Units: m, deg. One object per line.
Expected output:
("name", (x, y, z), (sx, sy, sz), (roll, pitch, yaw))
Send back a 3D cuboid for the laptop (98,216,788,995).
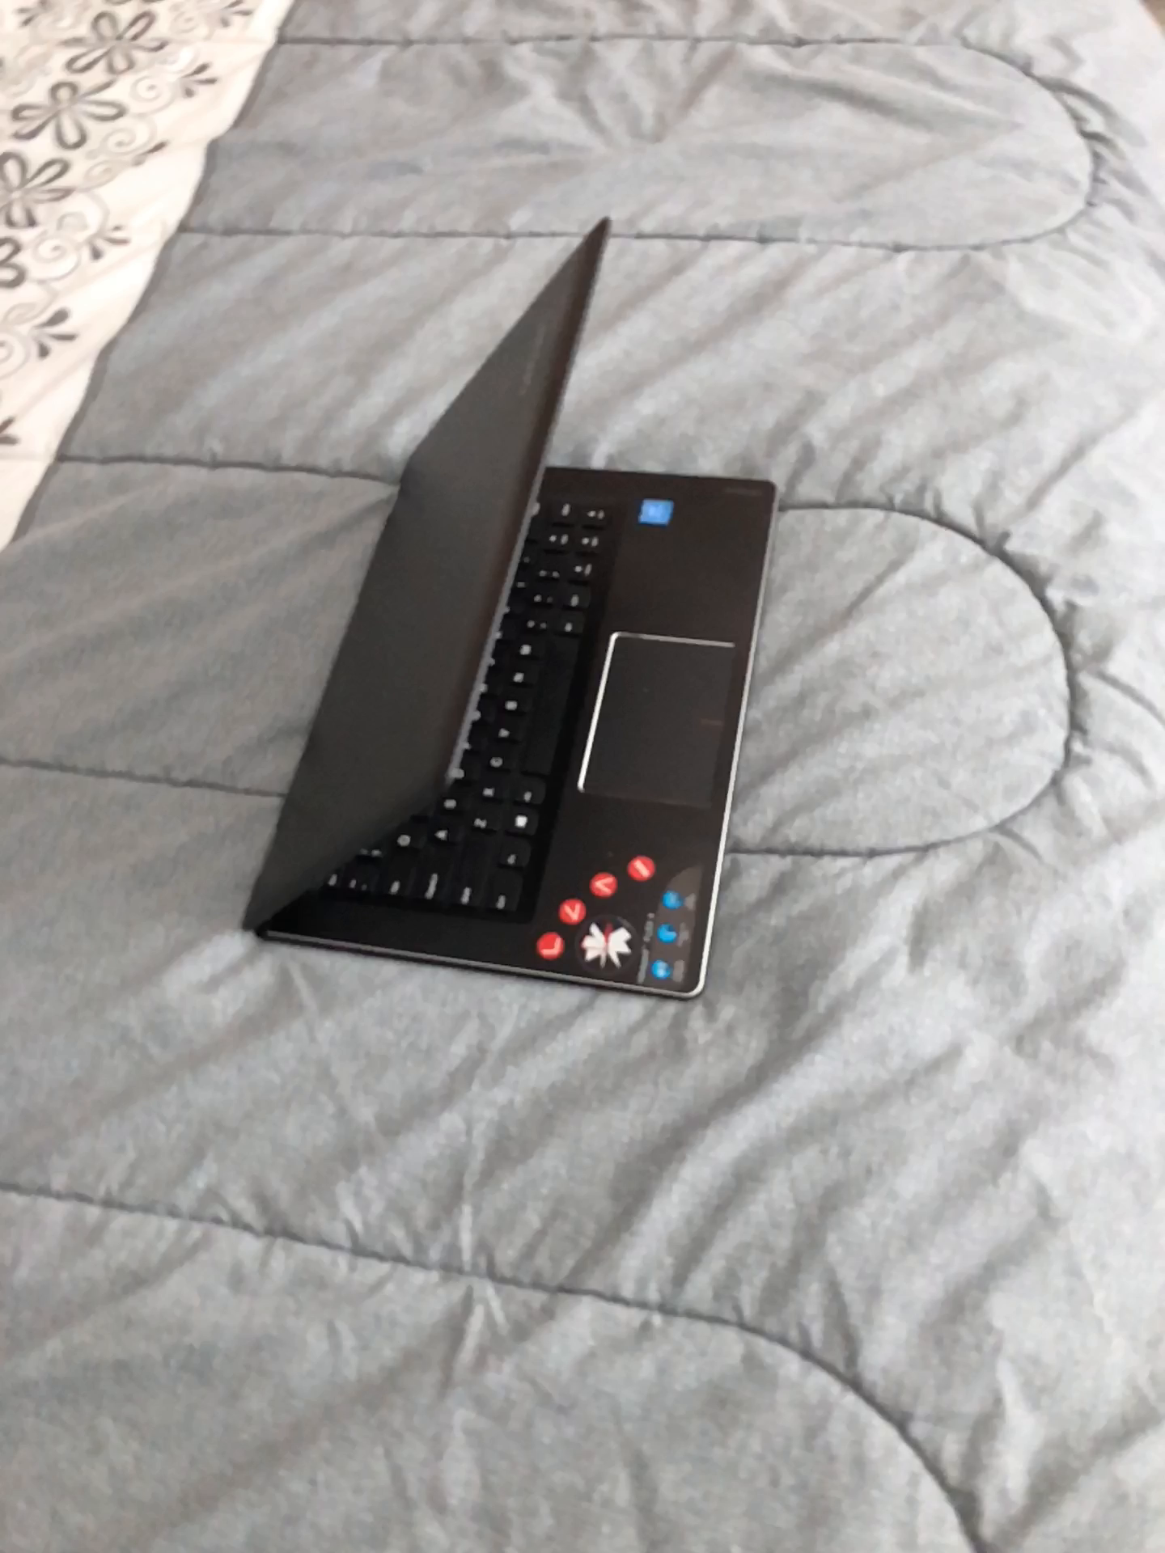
("laptop", (-0.034, -0.087, 0.585), (0.214, 0.168, 0.305), (6, 60, 11))
